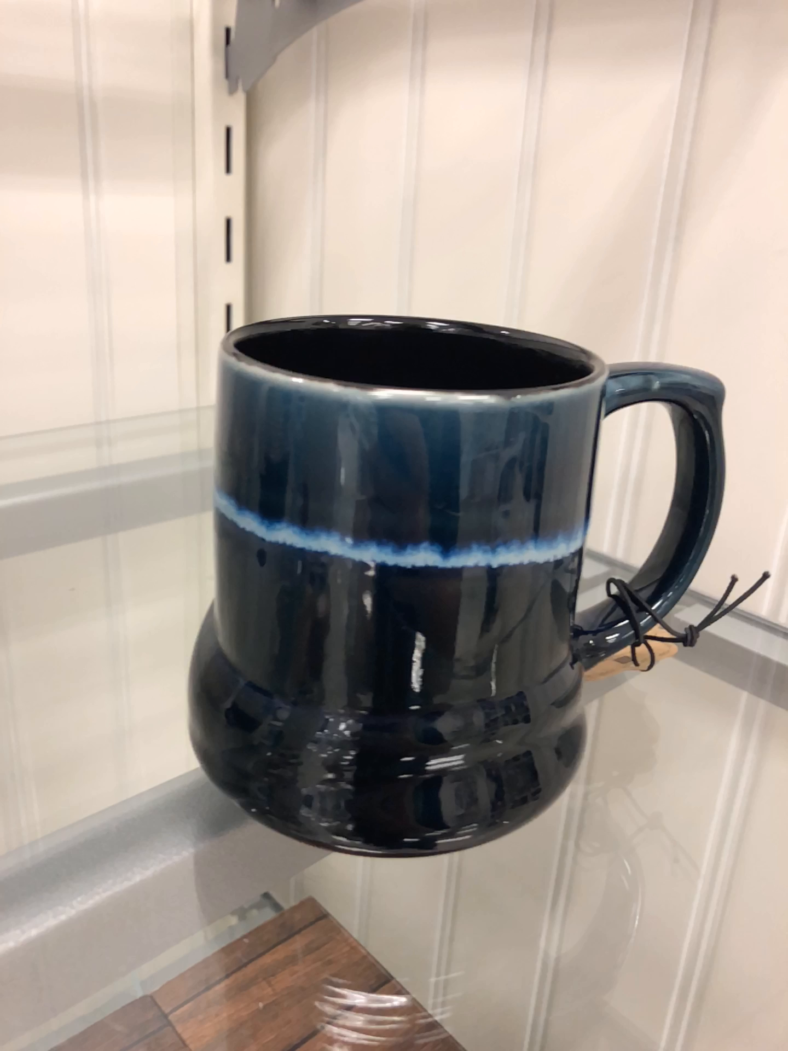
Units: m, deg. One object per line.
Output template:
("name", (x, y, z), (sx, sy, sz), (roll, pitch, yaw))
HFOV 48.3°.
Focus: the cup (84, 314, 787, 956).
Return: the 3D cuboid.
("cup", (0.004, 0.009, 0.229), (0.140, 0.109, 0.101), (-7, 24, -26))
